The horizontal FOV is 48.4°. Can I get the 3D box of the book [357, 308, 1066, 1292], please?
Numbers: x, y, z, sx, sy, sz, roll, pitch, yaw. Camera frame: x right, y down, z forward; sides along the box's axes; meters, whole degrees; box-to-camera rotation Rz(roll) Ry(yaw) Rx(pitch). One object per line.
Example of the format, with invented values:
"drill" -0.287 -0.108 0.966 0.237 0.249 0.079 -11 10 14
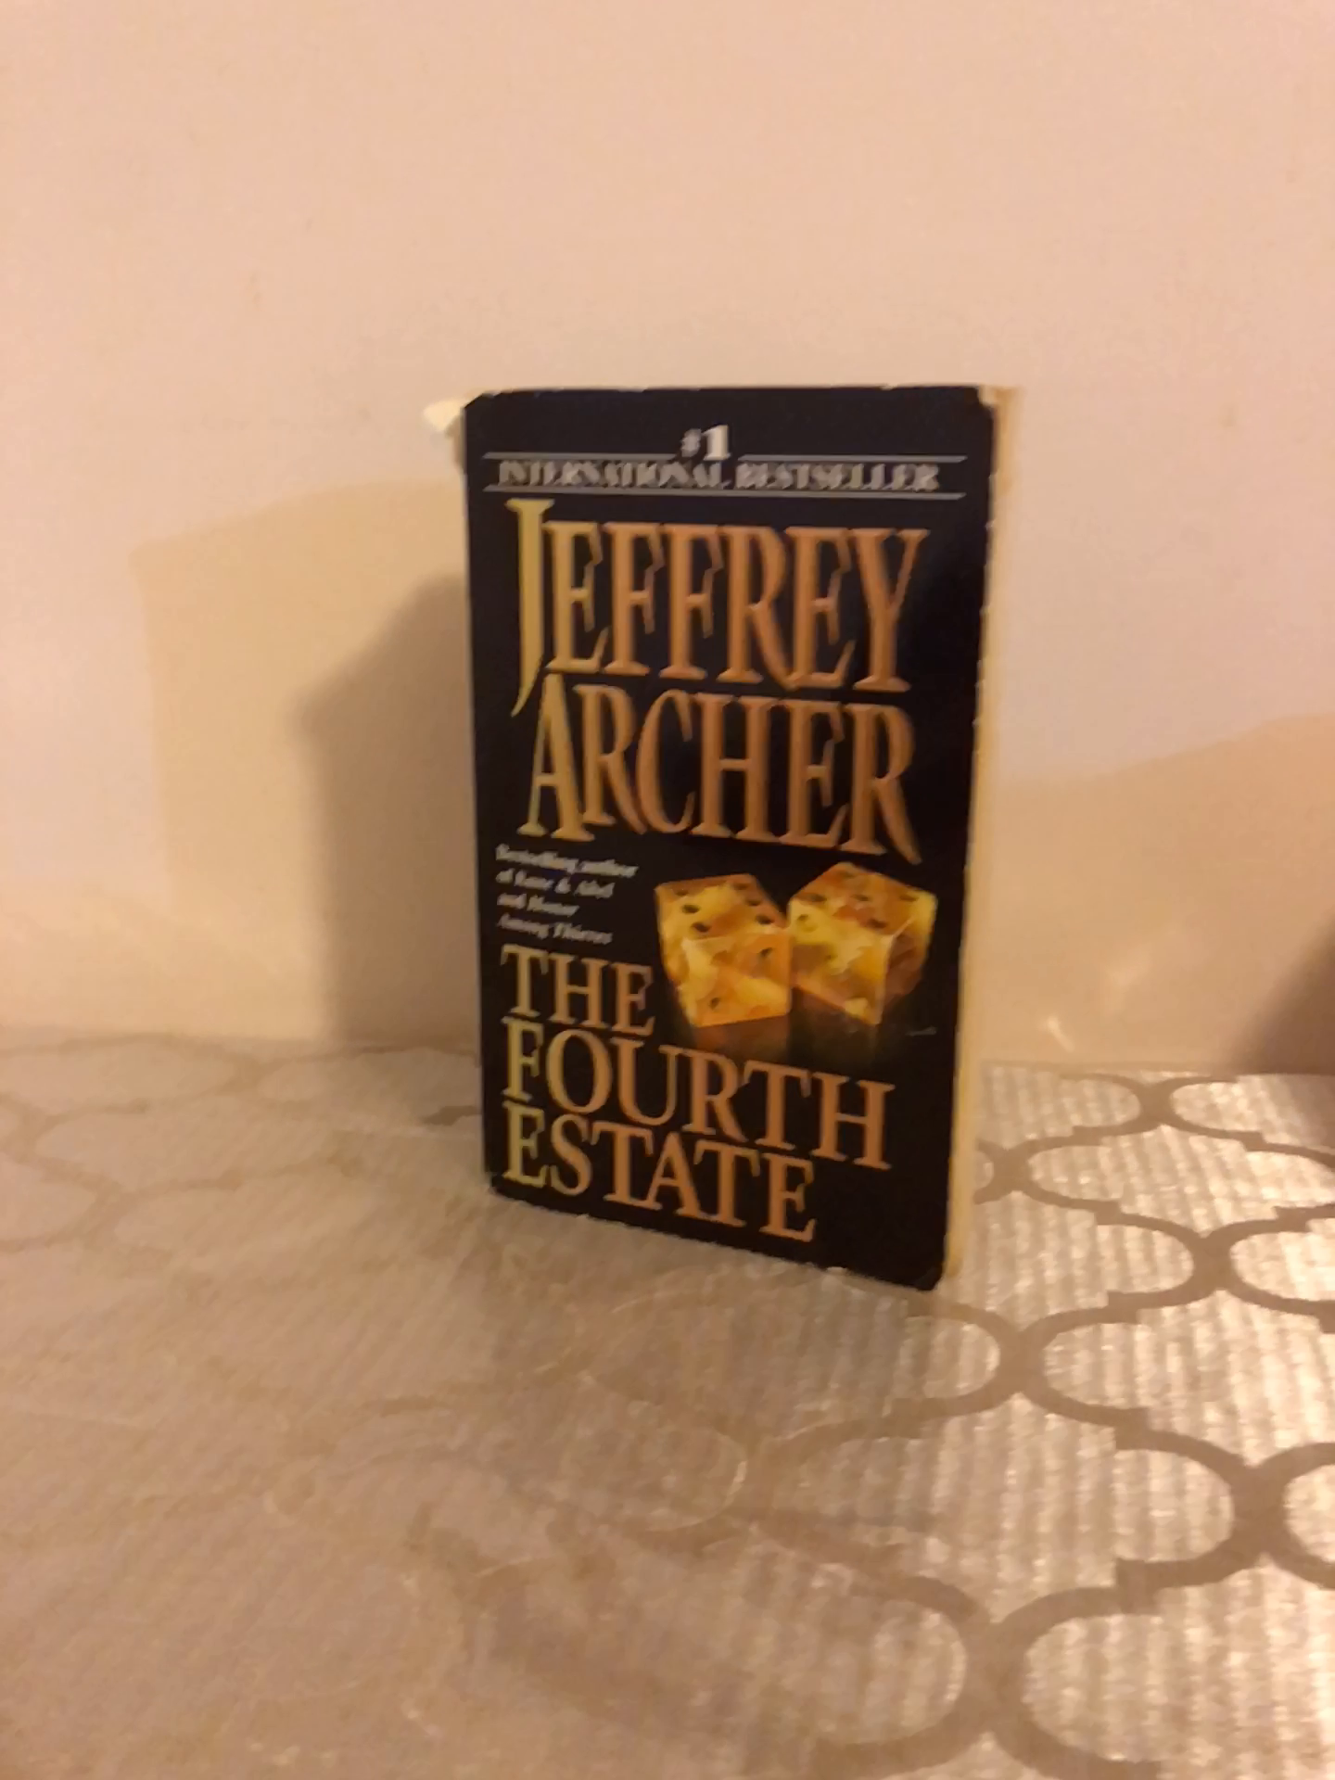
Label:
"book" 0.009 -0.022 0.302 0.120 0.169 0.060 6 16 23
